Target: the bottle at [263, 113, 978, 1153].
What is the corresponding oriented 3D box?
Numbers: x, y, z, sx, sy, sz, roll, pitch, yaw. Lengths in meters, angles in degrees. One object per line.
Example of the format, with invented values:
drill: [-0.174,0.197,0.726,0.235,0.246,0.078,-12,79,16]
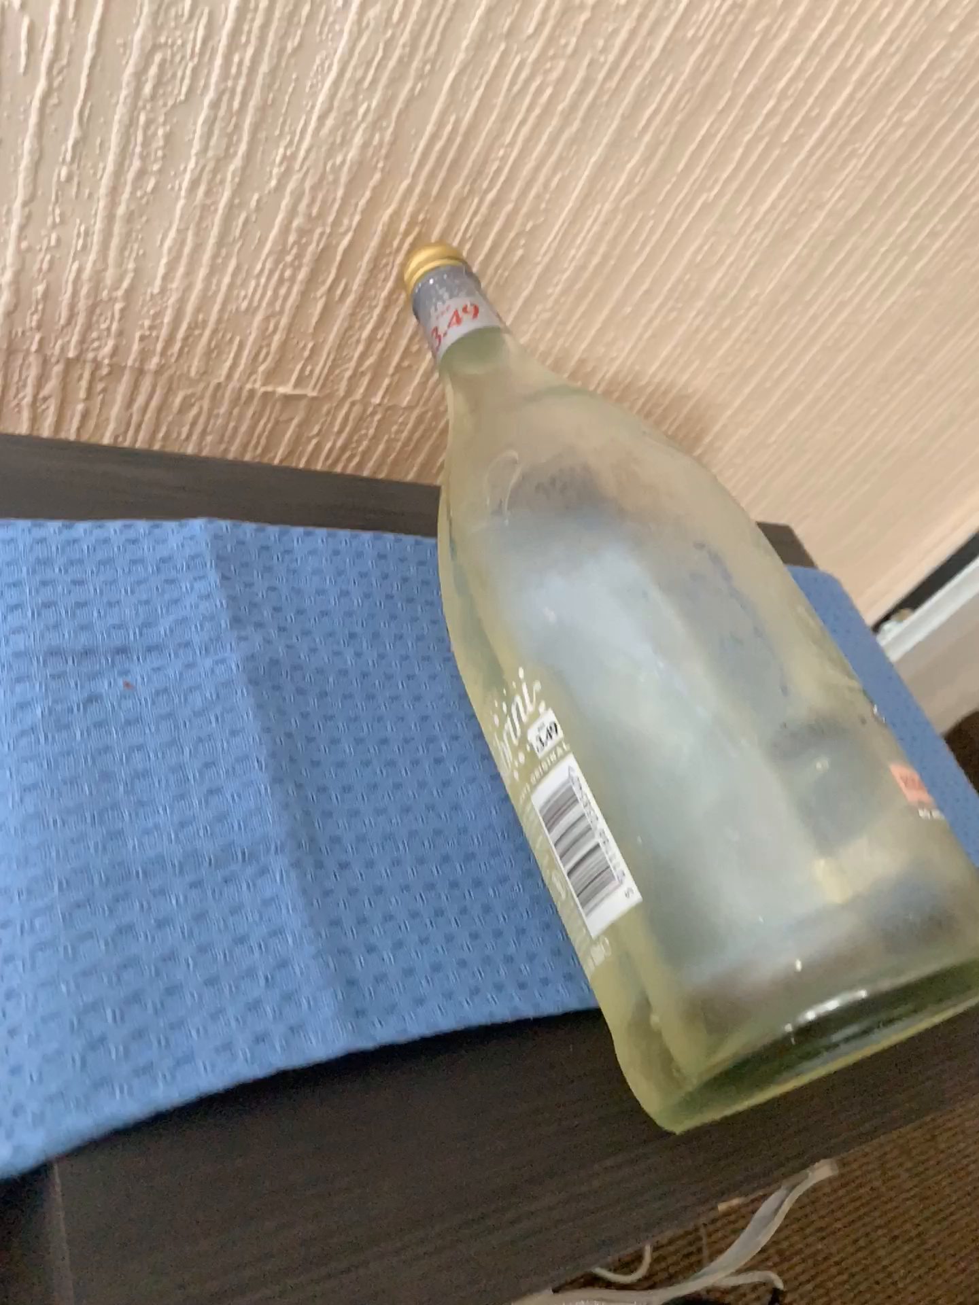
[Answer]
bottle: [0.022,-0.031,0.335,0.110,0.119,0.321,-13,60,-20]
